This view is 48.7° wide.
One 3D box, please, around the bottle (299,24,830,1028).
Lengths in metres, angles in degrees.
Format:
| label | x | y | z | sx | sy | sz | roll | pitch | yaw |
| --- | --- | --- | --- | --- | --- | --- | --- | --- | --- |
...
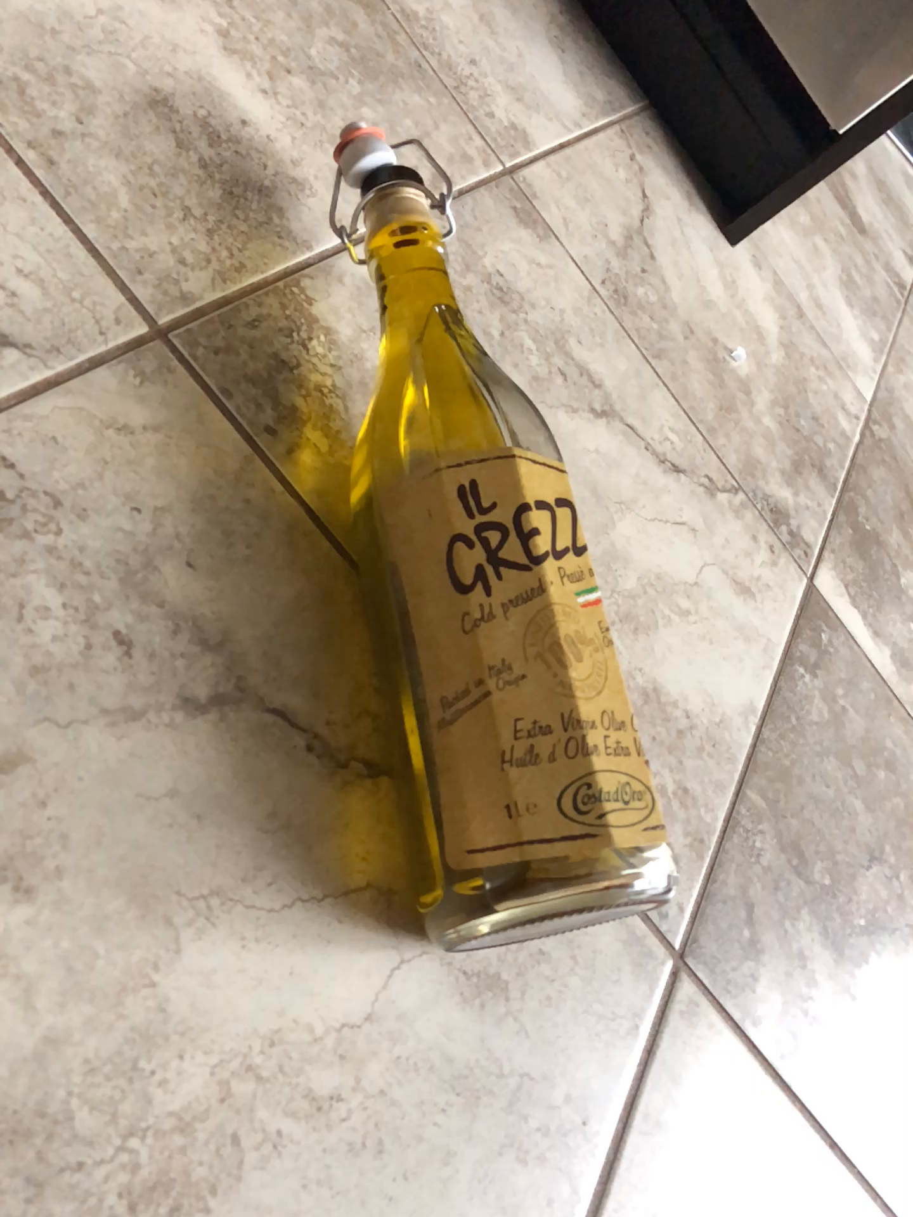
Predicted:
| label | x | y | z | sx | sy | sz | roll | pitch | yaw |
| --- | --- | --- | --- | --- | --- | --- | --- | --- | --- |
| bottle | 0.019 | -0.042 | 0.375 | 0.090 | 0.100 | 0.350 | 15 | 55 | -39 |
